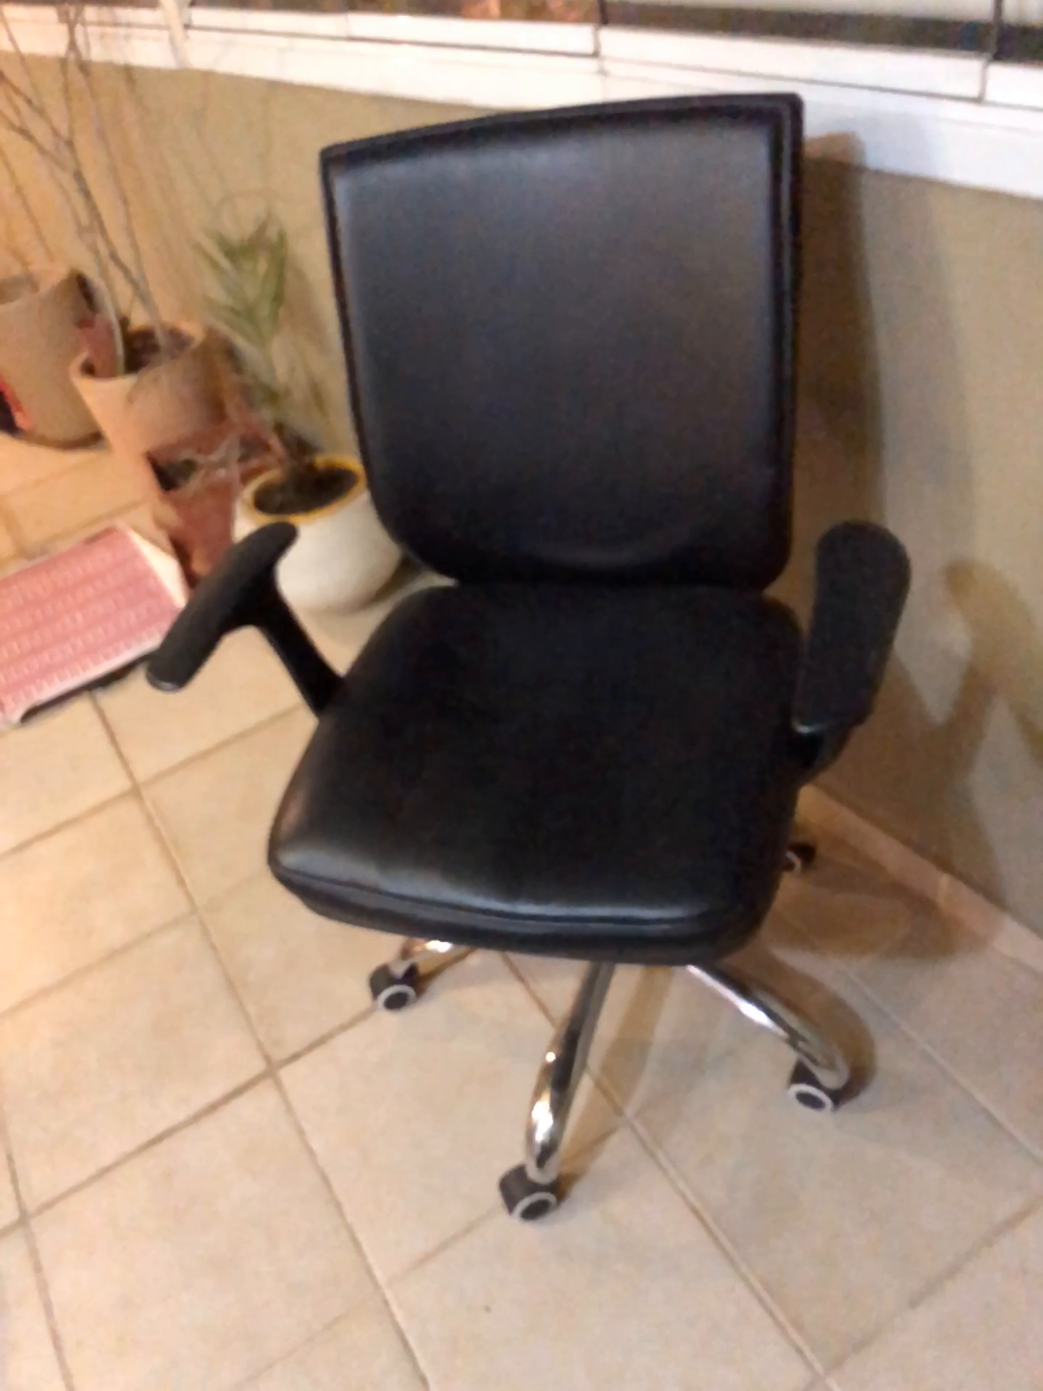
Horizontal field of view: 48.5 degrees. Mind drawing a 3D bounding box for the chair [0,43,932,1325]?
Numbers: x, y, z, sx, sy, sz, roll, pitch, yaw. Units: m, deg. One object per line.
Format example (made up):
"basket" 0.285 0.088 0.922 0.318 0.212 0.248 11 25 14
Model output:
"chair" 0.019 0.005 1.148 0.661 0.933 0.664 4 43 21
